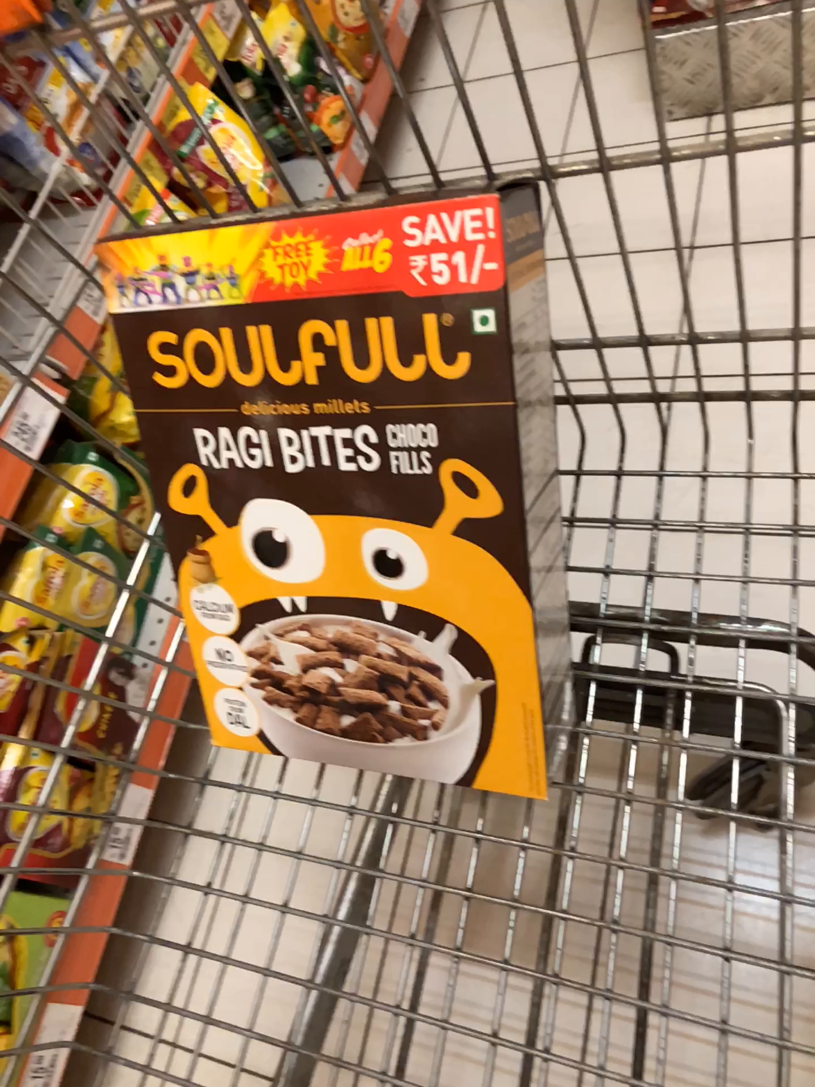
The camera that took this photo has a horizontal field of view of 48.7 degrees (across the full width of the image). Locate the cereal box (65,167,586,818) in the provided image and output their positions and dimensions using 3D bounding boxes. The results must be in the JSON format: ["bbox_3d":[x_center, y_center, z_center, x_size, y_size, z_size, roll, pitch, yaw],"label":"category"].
[{"bbox_3d":[-0.028,-0.019,0.413,0.190,0.259,0.070,3,24,26],"label":"cereal box"}]
